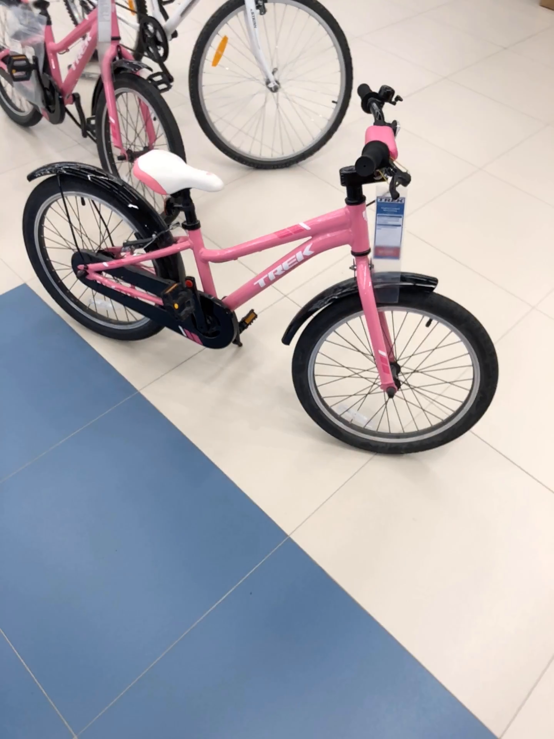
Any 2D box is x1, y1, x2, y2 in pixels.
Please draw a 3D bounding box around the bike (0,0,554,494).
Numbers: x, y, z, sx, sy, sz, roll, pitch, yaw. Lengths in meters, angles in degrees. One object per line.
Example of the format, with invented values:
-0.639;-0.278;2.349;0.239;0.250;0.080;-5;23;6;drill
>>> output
-0.062;-0.348;1.421;1.297;0.835;0.558;16;49;15;bike
